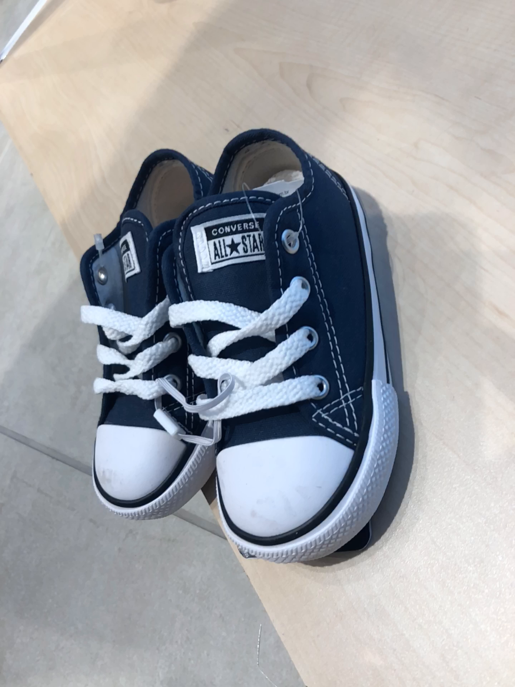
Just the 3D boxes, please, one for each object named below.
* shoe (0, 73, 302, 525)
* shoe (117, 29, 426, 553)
[{"bbox_3d":[-0.044,-0.018,0.254,0.080,0.060,0.170,0,71,38],"label":"shoe"},{"bbox_3d":[0.009,-0.015,0.216,0.080,0.060,0.170,-11,65,34],"label":"shoe"}]
